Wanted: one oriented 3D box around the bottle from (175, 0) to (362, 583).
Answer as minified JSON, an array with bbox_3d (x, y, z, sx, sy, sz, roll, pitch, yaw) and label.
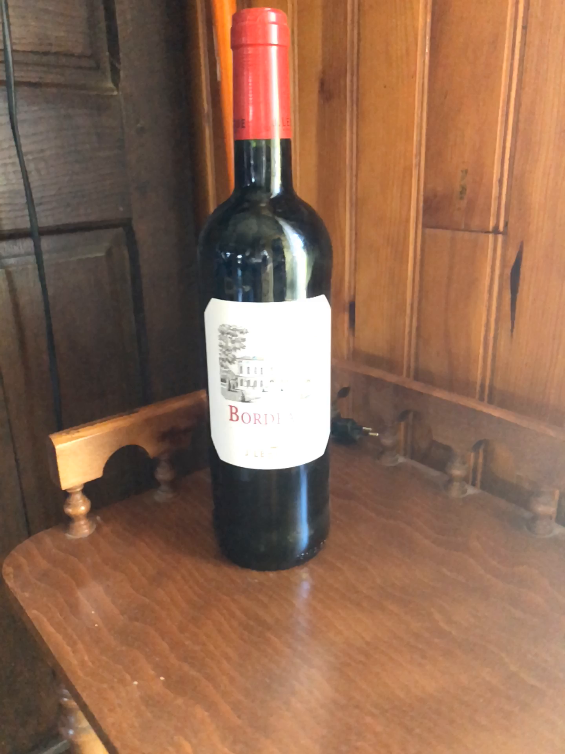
[{"bbox_3d":[-0.004,-0.037,0.356,0.080,0.309,0.080,-1,20,0],"label":"bottle"}]
